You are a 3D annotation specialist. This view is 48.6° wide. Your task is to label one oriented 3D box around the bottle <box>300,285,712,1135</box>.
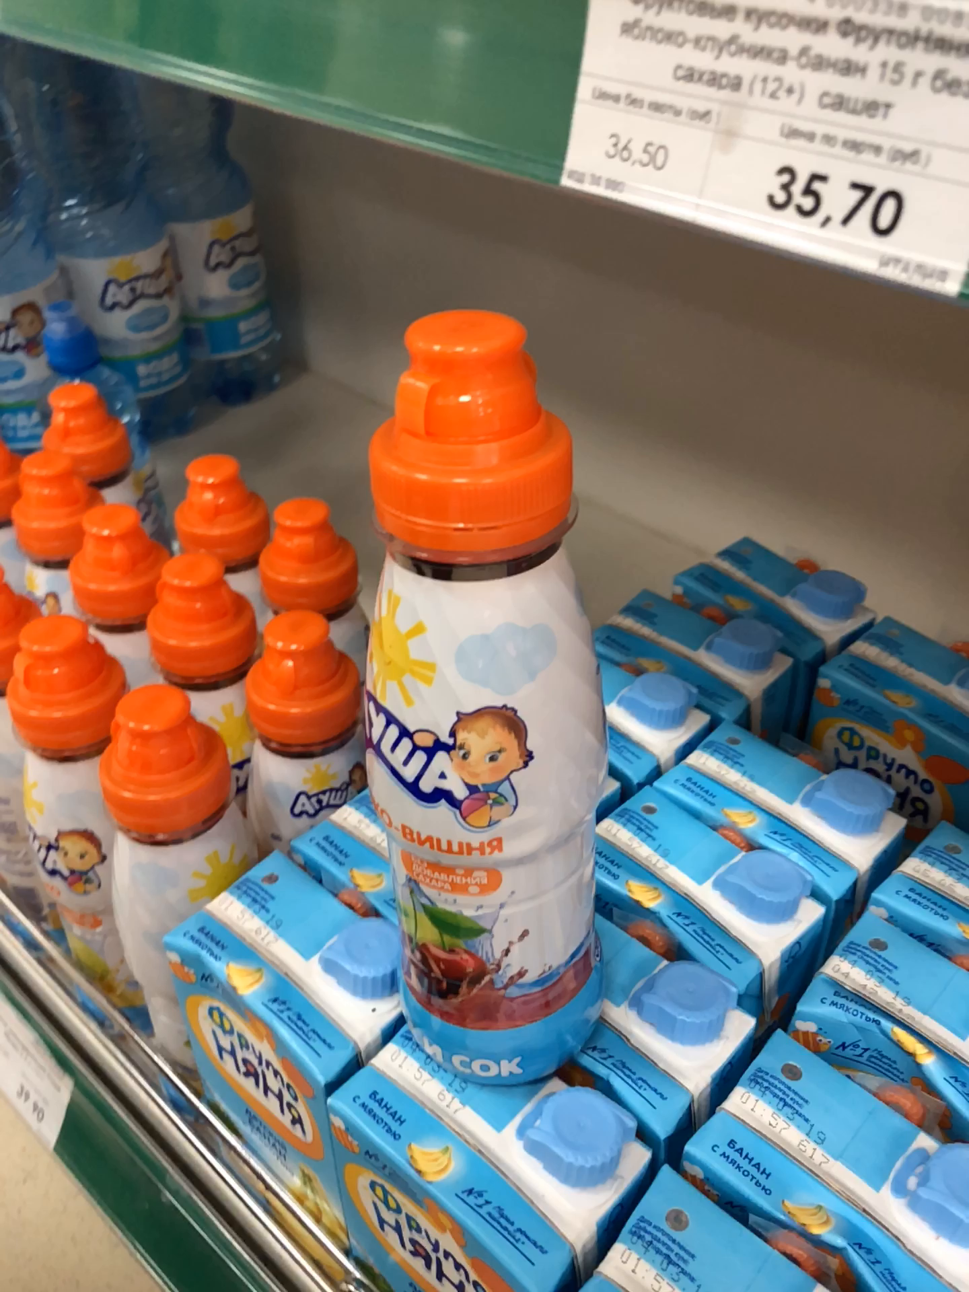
[{"bbox_3d":[0.005,0.023,0.252,0.054,0.190,0.056,0,33,0],"label":"bottle"}]
